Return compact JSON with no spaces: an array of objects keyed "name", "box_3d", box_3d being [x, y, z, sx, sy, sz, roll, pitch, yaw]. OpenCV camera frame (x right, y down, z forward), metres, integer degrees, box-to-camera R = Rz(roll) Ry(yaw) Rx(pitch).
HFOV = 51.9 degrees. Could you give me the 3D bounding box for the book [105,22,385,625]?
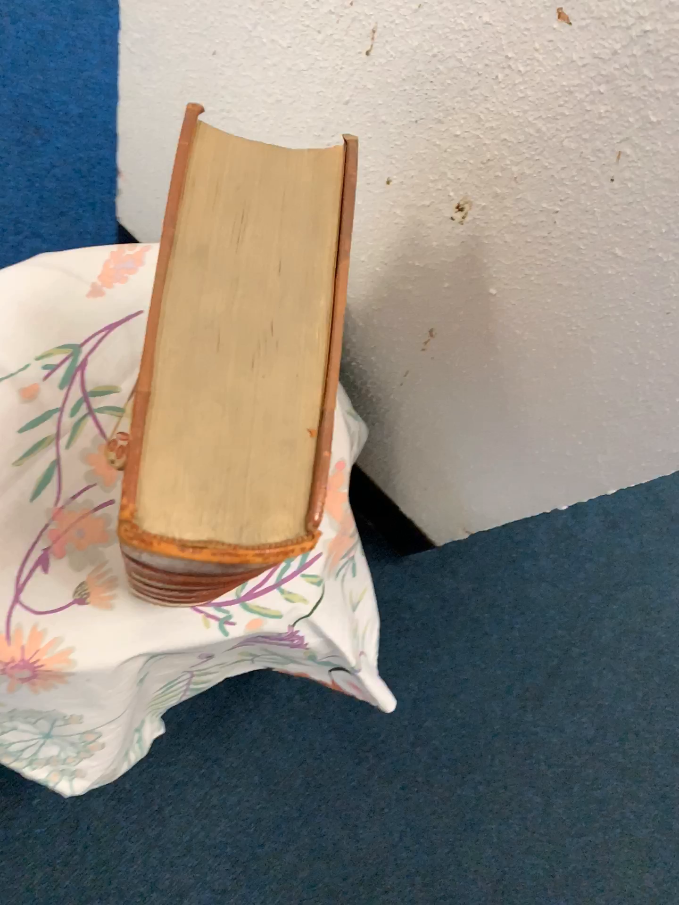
[{"name":"book","box_3d":[-0.061,-0.020,0.334,0.070,0.249,0.190,9,73,-16]}]
